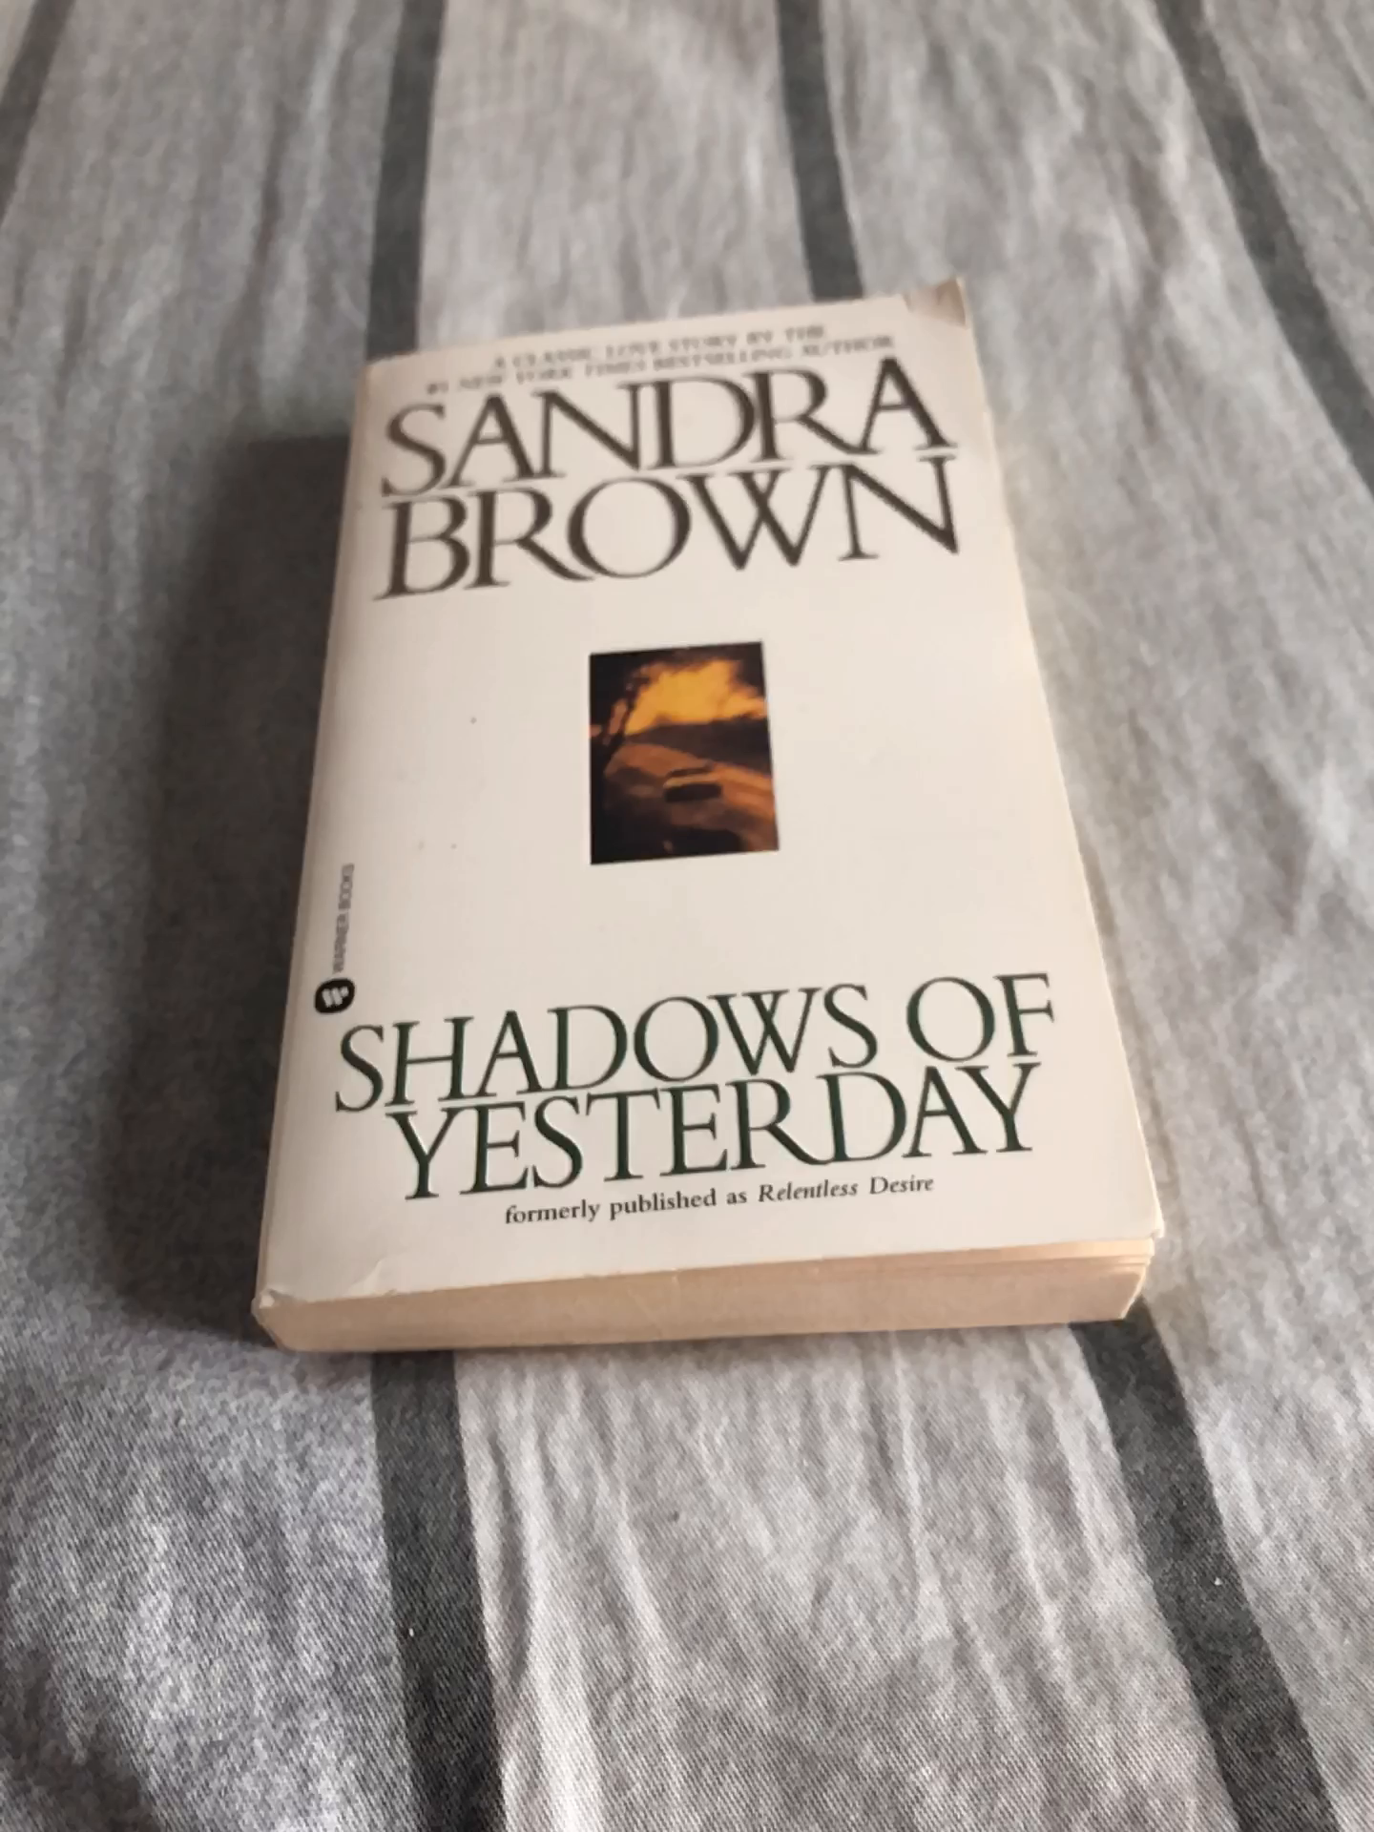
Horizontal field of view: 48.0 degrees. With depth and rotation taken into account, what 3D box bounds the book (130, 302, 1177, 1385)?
[{"bbox_3d":[-0.006,-0.024,0.238,0.120,0.030,0.181,-1,57,-1],"label":"book"}]
